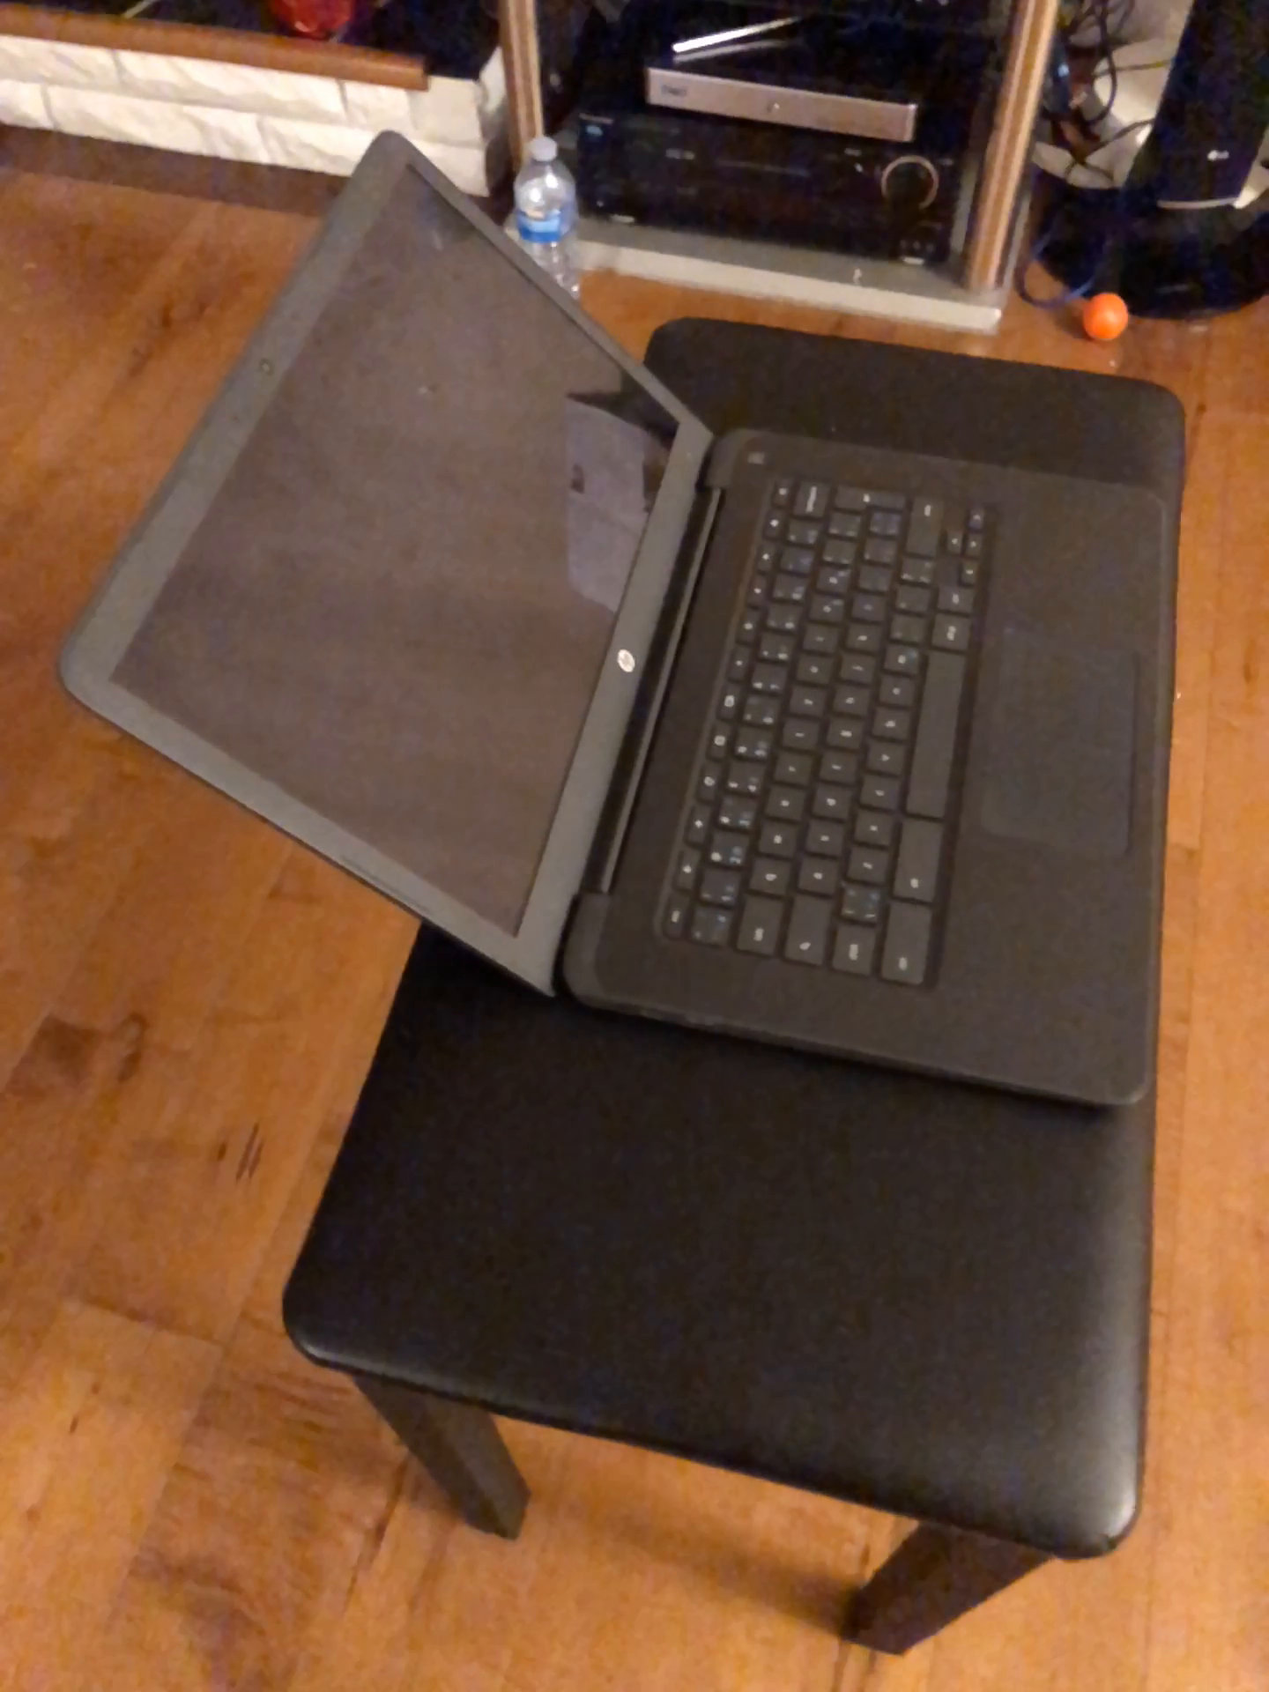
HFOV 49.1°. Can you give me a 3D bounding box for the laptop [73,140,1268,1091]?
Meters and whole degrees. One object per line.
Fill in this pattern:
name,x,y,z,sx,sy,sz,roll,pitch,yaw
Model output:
laptop,0.036,-0.112,0.552,0.363,0.144,0.318,9,57,10
